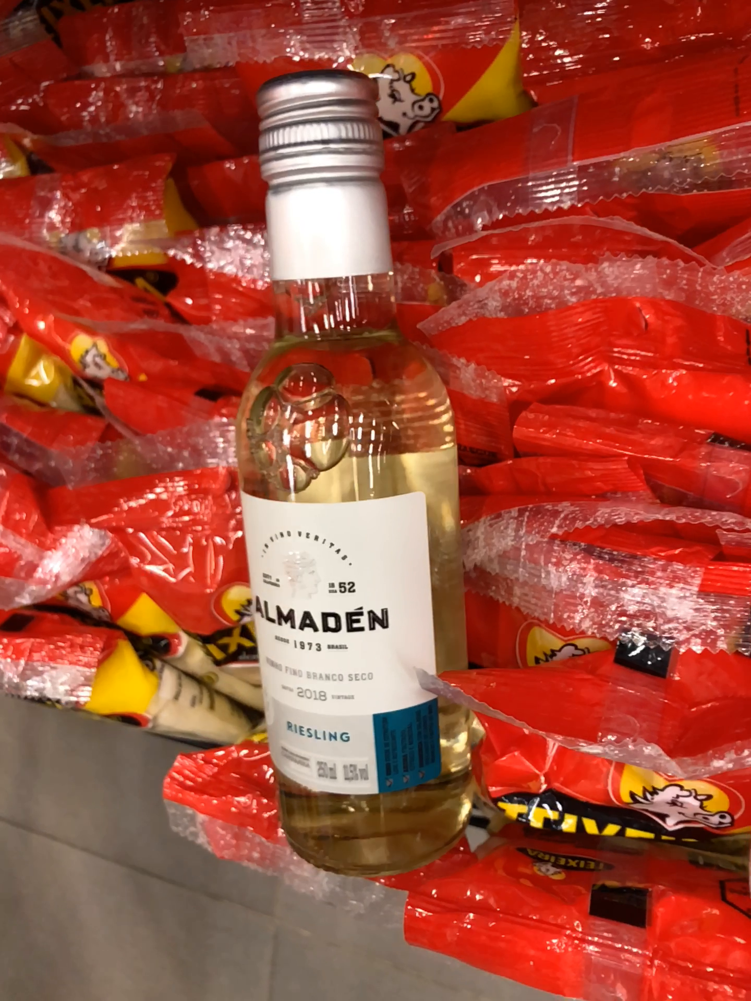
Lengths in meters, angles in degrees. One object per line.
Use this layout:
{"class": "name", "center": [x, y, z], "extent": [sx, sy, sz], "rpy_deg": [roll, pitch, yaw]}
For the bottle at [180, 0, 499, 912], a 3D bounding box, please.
{"class": "bottle", "center": [-0.005, -0.010, 0.213], "extent": [0.060, 0.040, 0.210], "rpy_deg": [5, 104, 27]}
